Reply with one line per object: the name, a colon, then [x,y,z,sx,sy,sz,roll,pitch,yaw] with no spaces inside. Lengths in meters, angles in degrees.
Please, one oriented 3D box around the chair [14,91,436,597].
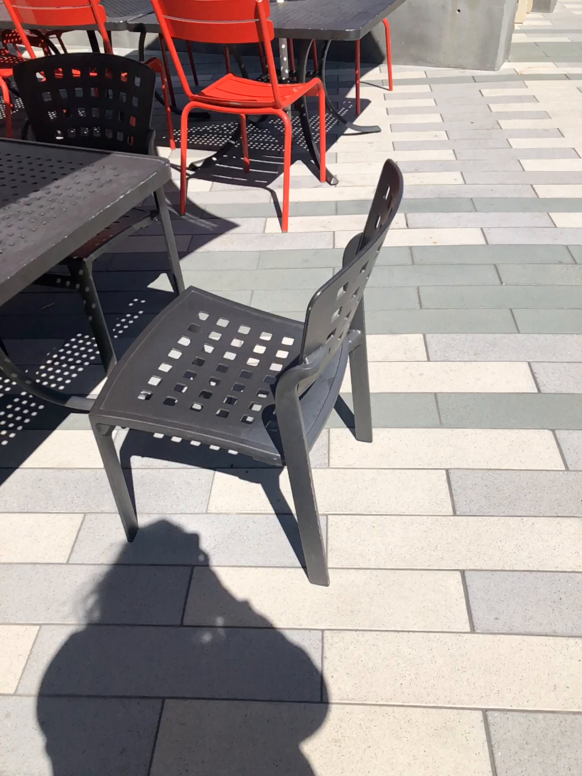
chair: [-0.069,-0.084,1.269,0.530,0.756,0.522,11,41,10]
